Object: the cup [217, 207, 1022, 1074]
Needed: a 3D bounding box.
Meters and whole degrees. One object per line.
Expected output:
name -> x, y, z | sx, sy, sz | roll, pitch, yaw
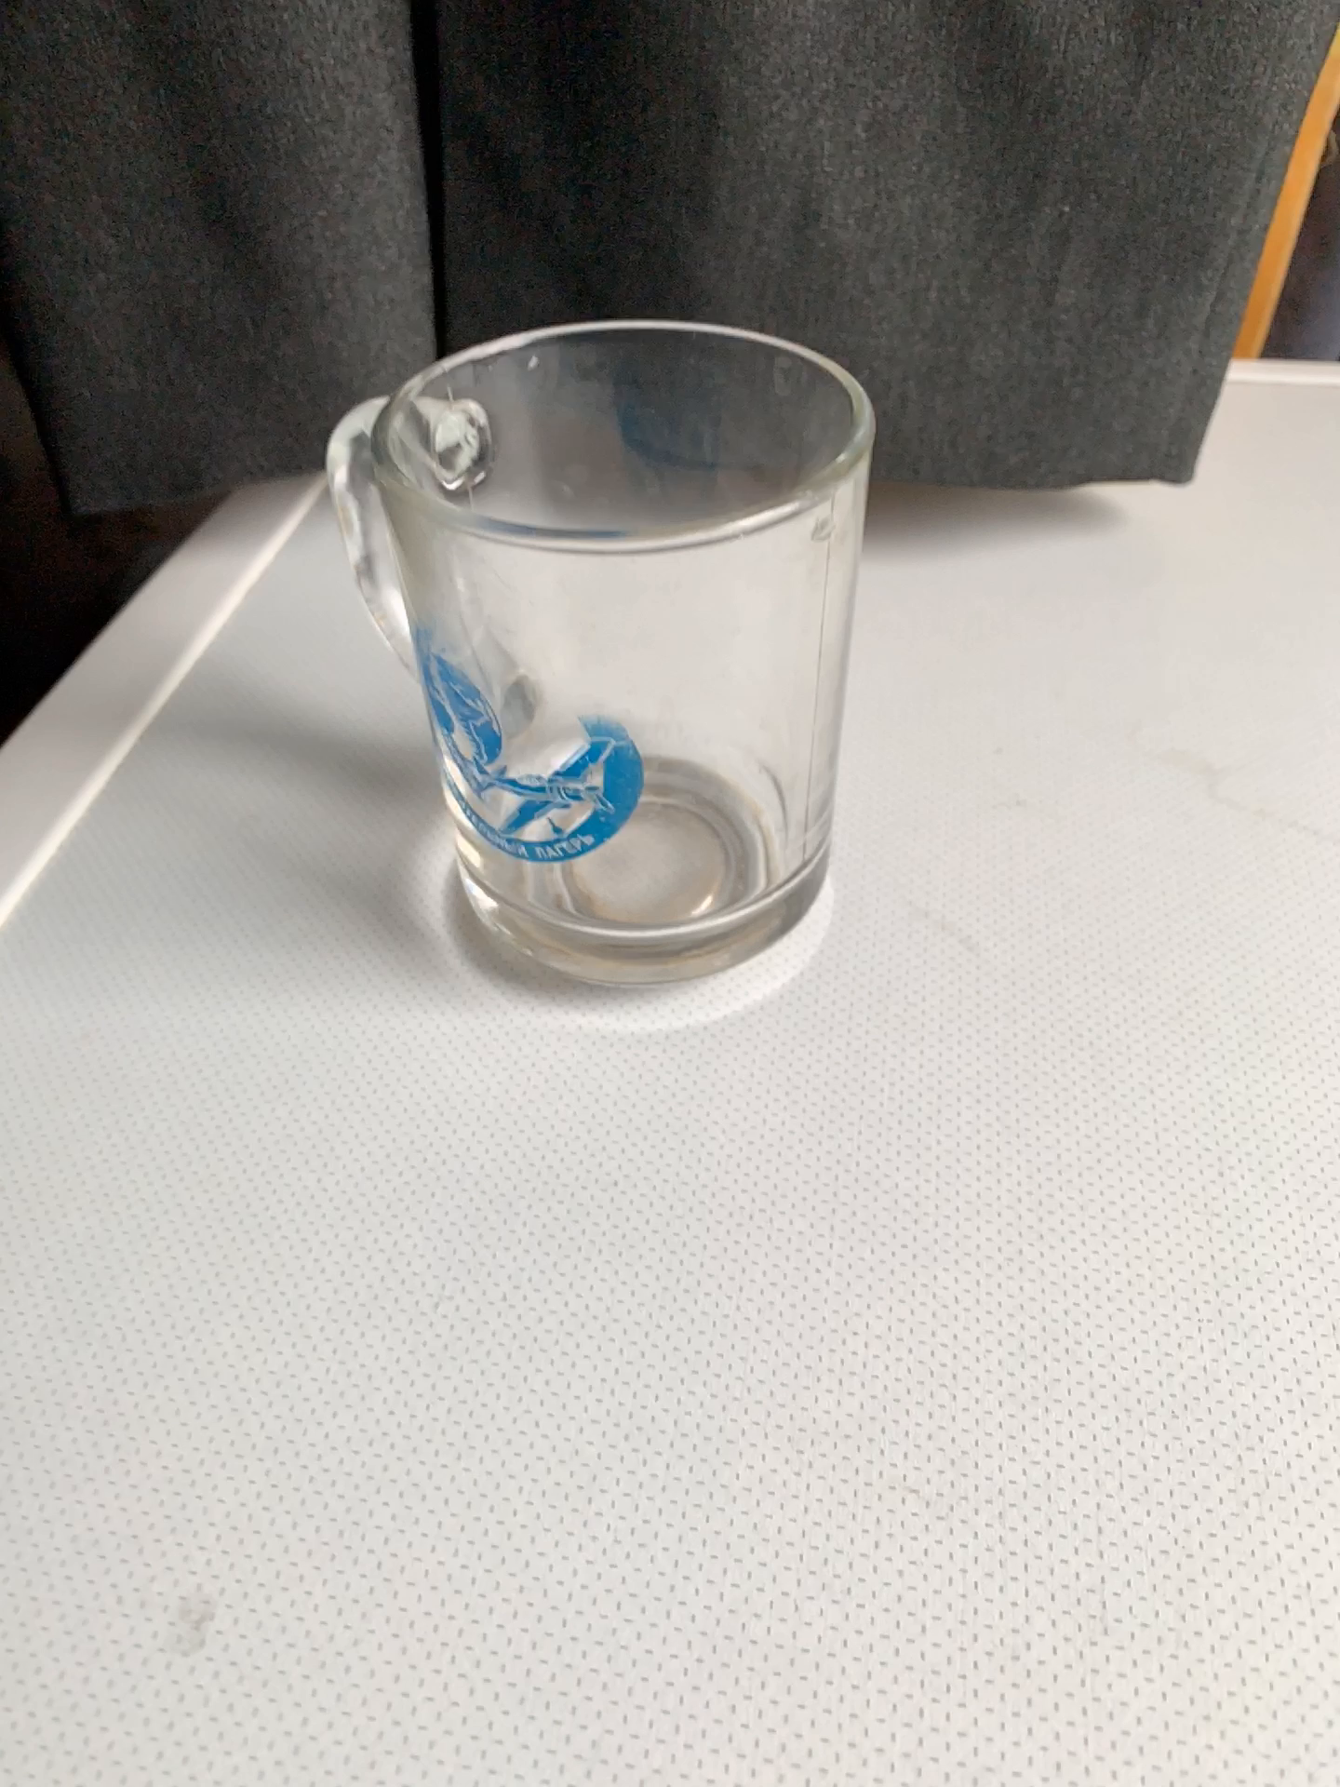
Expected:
cup -> -0.008, -0.044, 0.224 | 0.070, 0.089, 0.090 | -32, 50, -29
